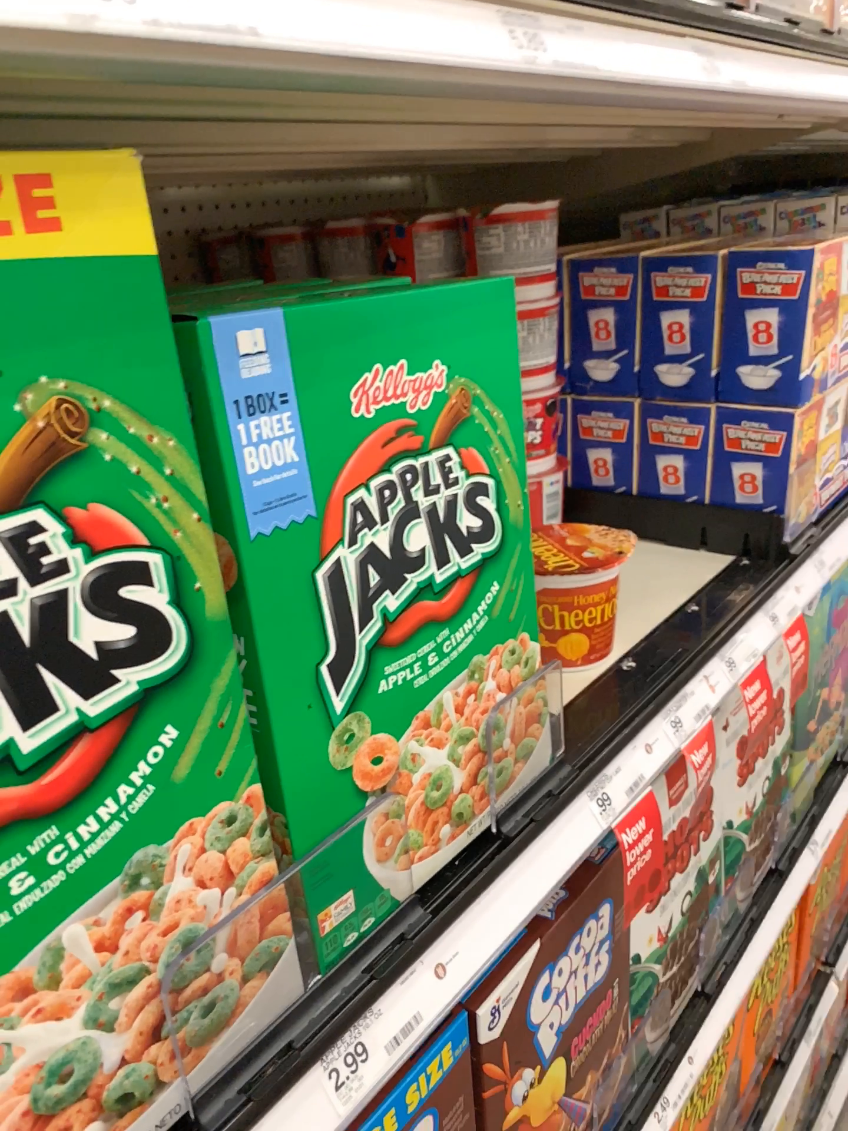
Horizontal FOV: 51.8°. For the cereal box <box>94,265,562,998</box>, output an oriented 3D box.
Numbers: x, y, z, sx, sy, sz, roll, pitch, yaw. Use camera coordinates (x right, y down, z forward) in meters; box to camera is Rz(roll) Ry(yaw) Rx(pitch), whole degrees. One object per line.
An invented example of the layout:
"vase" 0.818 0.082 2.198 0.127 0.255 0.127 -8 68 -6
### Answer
"cereal box" -0.021 0.016 0.426 0.060 0.289 0.200 7 23 38
